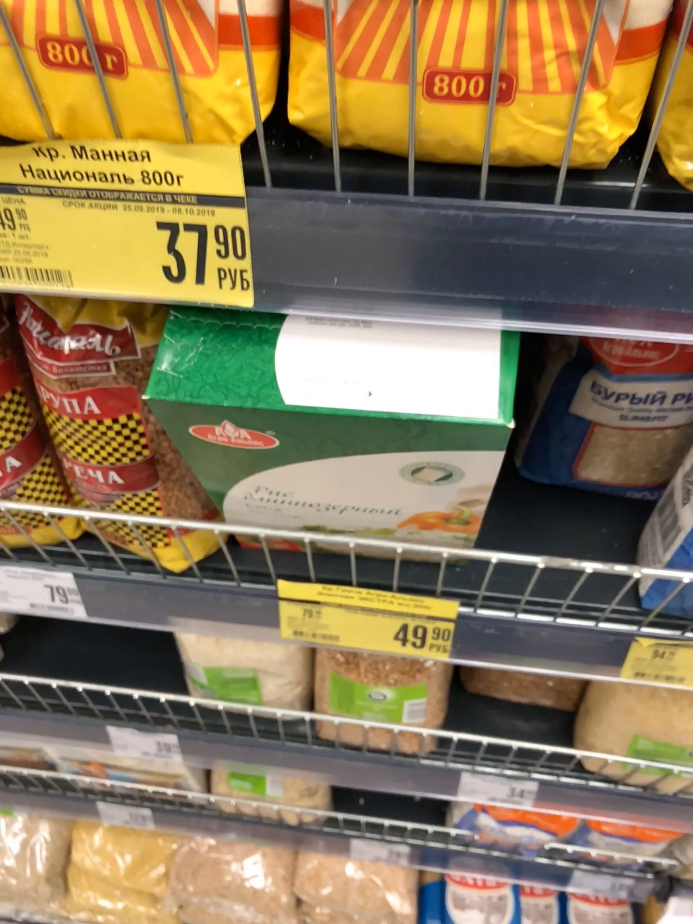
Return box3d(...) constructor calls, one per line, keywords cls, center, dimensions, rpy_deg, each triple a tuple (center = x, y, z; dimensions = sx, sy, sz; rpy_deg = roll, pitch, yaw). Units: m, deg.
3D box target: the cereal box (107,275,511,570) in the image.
box3d(cls="cereal box", center=(-0.006, -0.004, 0.373), dimensions=(0.140, 0.209, 0.050), rpy_deg=(5, 69, 6))
